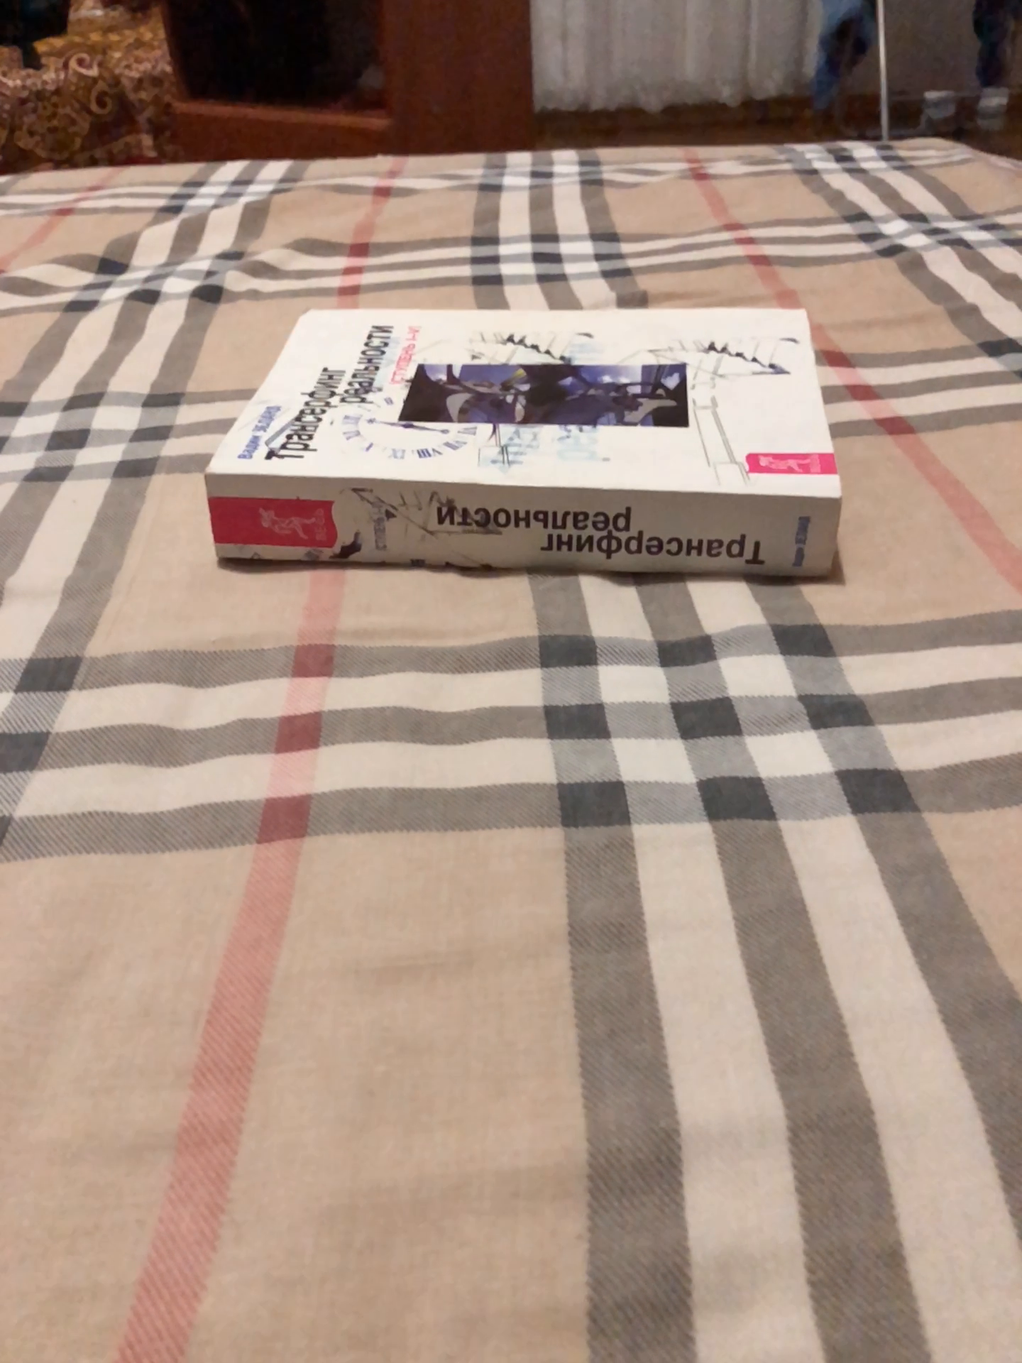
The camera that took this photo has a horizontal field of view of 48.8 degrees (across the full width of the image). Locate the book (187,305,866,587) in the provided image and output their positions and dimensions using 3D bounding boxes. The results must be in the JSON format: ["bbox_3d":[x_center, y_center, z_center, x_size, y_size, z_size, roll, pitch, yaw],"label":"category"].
[{"bbox_3d":[0.008,-0.091,0.403,0.202,0.037,0.144,3,36,3],"label":"book"}]
